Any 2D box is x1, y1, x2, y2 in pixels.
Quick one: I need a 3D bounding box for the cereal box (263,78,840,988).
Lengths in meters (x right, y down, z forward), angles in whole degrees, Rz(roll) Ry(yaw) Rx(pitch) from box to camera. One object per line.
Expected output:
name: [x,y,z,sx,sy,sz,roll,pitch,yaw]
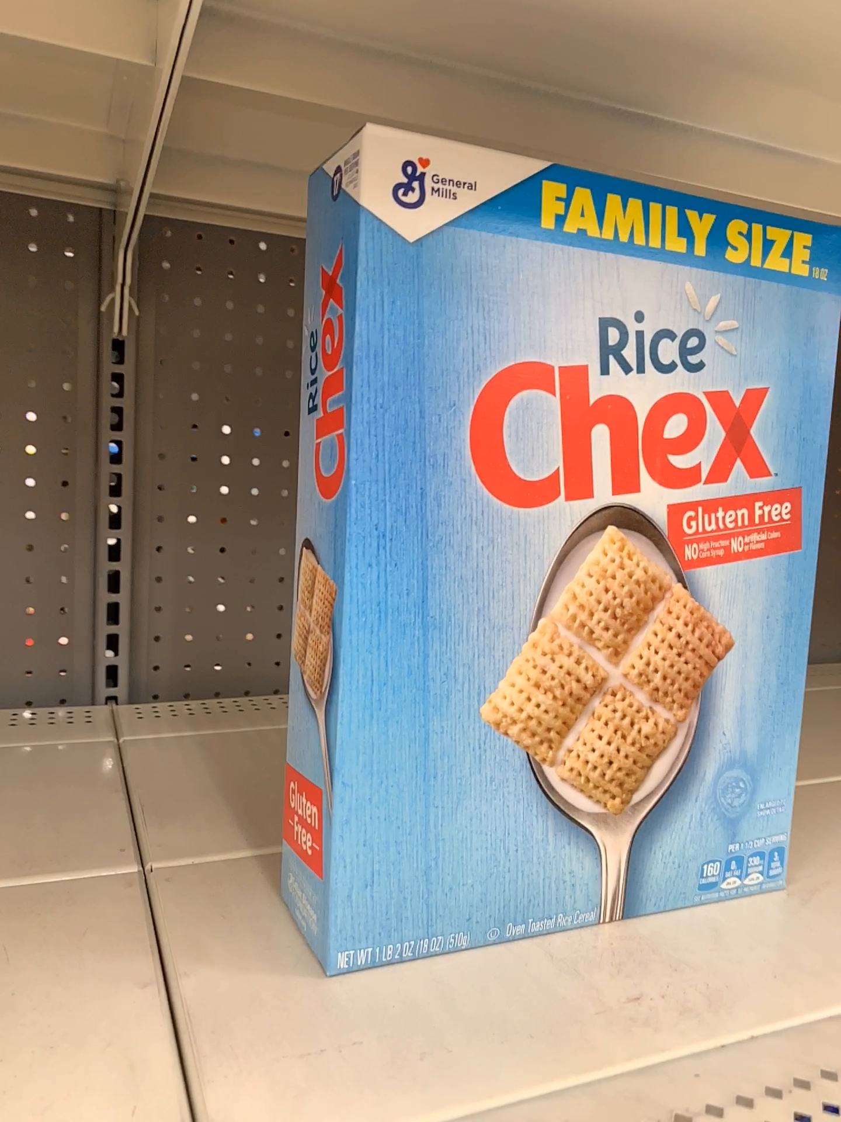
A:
cereal box: [0.068,-0.006,0.388,0.250,0.319,0.080,0,7,-23]
